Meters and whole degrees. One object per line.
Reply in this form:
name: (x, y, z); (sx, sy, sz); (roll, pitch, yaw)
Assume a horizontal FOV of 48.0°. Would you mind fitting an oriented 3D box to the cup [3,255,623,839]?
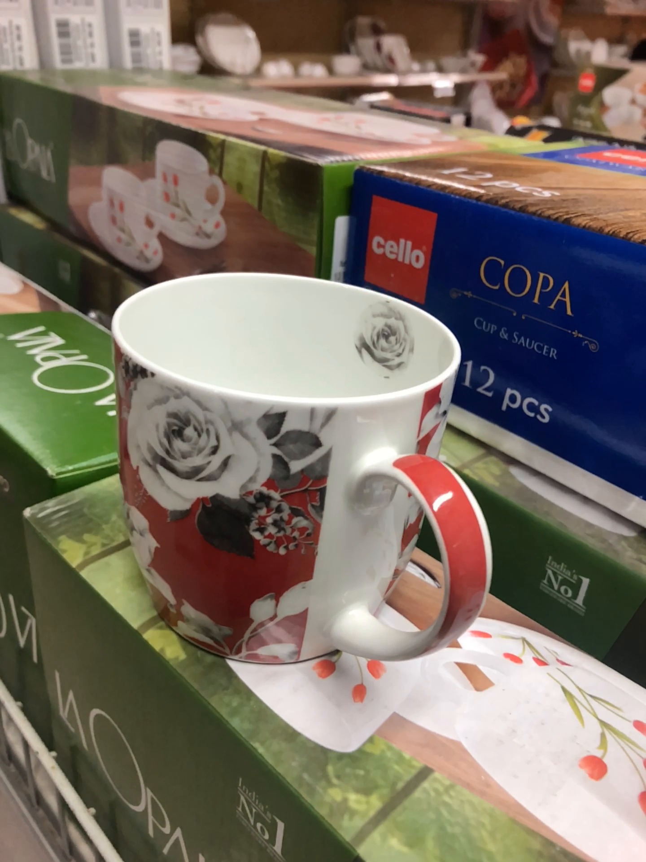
cup: (-0.009, 0.009, 0.178); (0.090, 0.070, 0.110); (-16, 36, -38)
